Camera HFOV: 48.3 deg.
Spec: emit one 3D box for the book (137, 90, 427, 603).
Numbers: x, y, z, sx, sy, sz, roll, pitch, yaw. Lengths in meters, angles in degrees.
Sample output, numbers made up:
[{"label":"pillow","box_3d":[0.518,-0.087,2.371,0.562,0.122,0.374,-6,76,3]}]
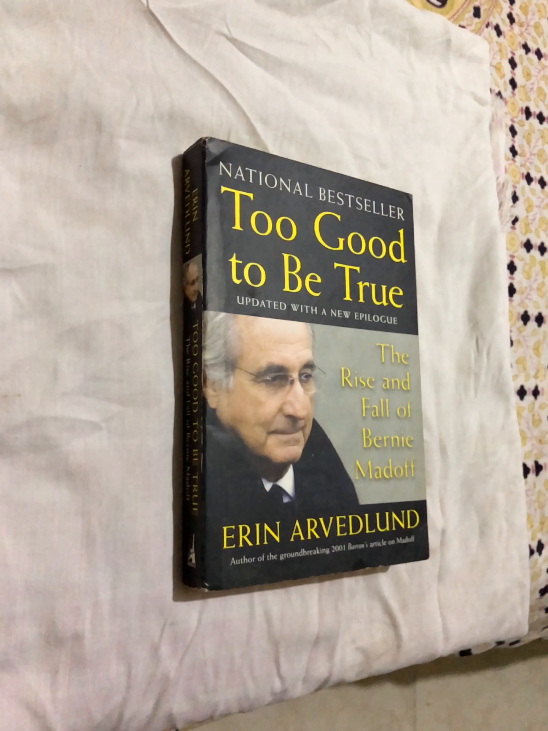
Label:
[{"label":"book","box_3d":[0.008,-0.009,0.320,0.151,0.030,0.230,4,81,-30]}]
